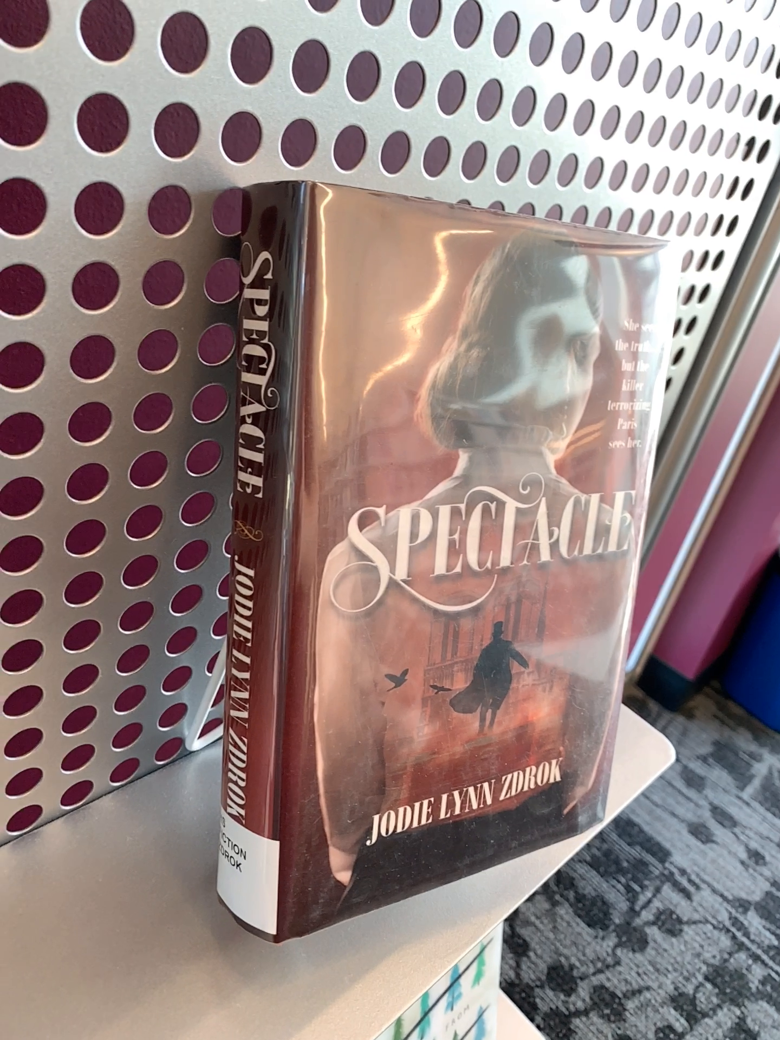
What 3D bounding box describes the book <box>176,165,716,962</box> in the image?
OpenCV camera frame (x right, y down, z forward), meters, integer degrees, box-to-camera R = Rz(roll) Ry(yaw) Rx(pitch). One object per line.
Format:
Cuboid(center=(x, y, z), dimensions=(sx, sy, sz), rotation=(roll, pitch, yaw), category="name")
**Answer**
Cuboid(center=(0.015, 0.010, 0.268), dimensions=(0.154, 0.212, 0.059), rotation=(-5, 17, -30), category="book")
